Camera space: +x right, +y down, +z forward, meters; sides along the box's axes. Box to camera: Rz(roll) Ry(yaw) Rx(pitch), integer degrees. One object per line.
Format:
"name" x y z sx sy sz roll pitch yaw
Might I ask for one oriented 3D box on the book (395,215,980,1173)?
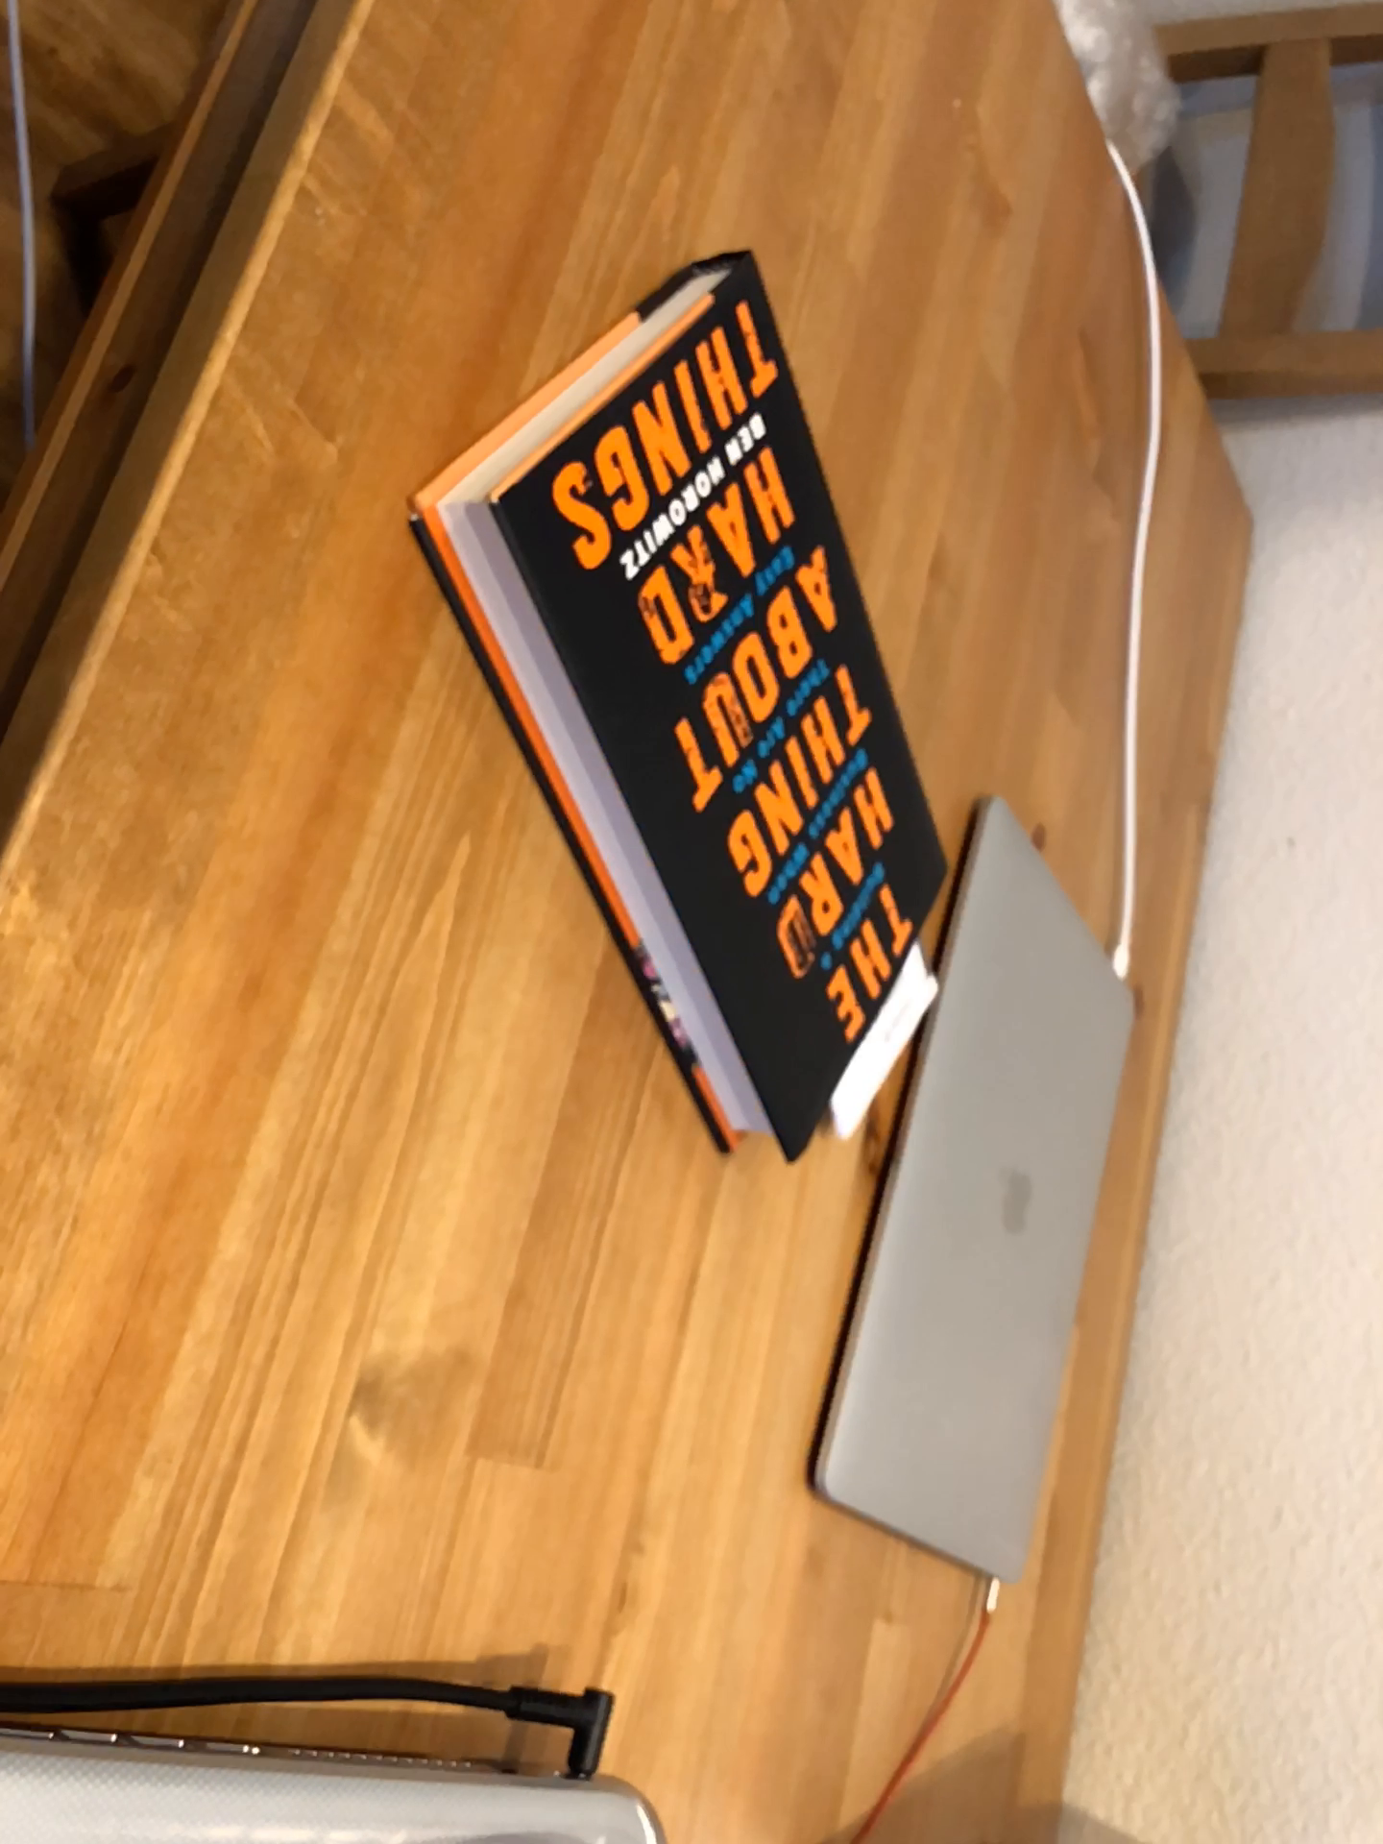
"book" 0.018 -0.062 0.451 0.160 0.030 0.221 -57 135 -39
